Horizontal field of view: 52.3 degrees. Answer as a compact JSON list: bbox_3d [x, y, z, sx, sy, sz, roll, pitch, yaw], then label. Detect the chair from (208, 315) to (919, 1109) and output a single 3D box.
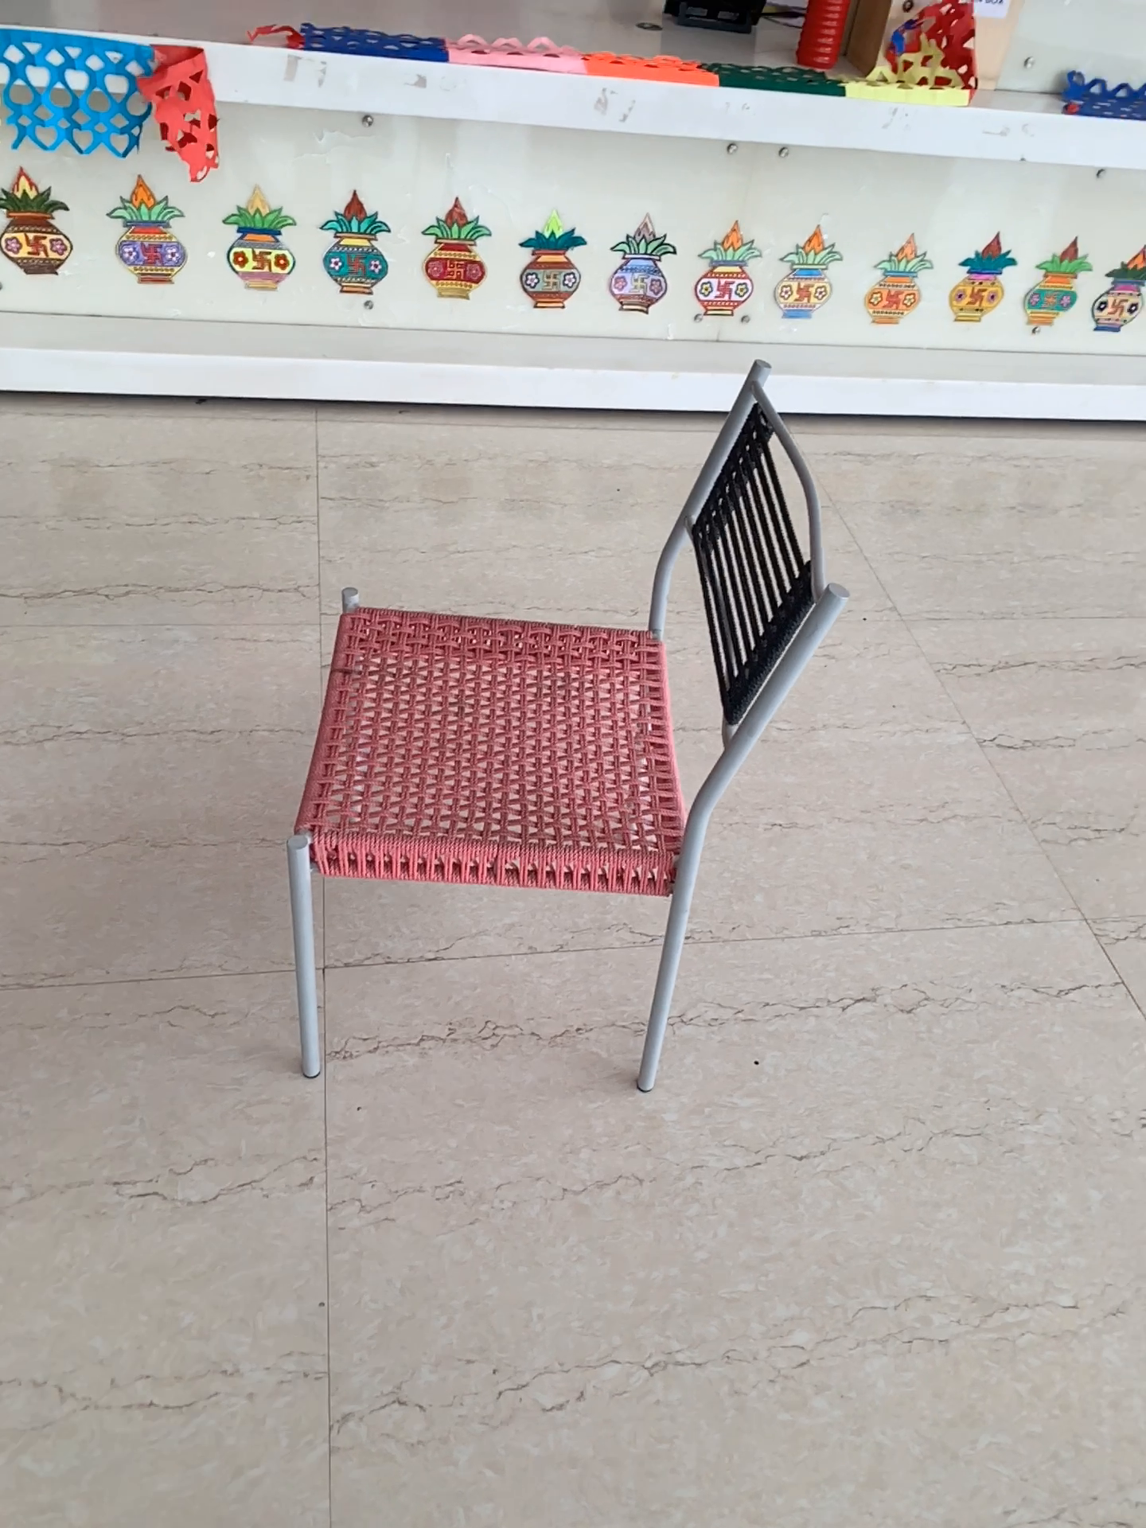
[{"bbox_3d":[-0.049,-0.035,1.388,0.580,0.734,0.535,4,42,-6],"label":"chair"}]
